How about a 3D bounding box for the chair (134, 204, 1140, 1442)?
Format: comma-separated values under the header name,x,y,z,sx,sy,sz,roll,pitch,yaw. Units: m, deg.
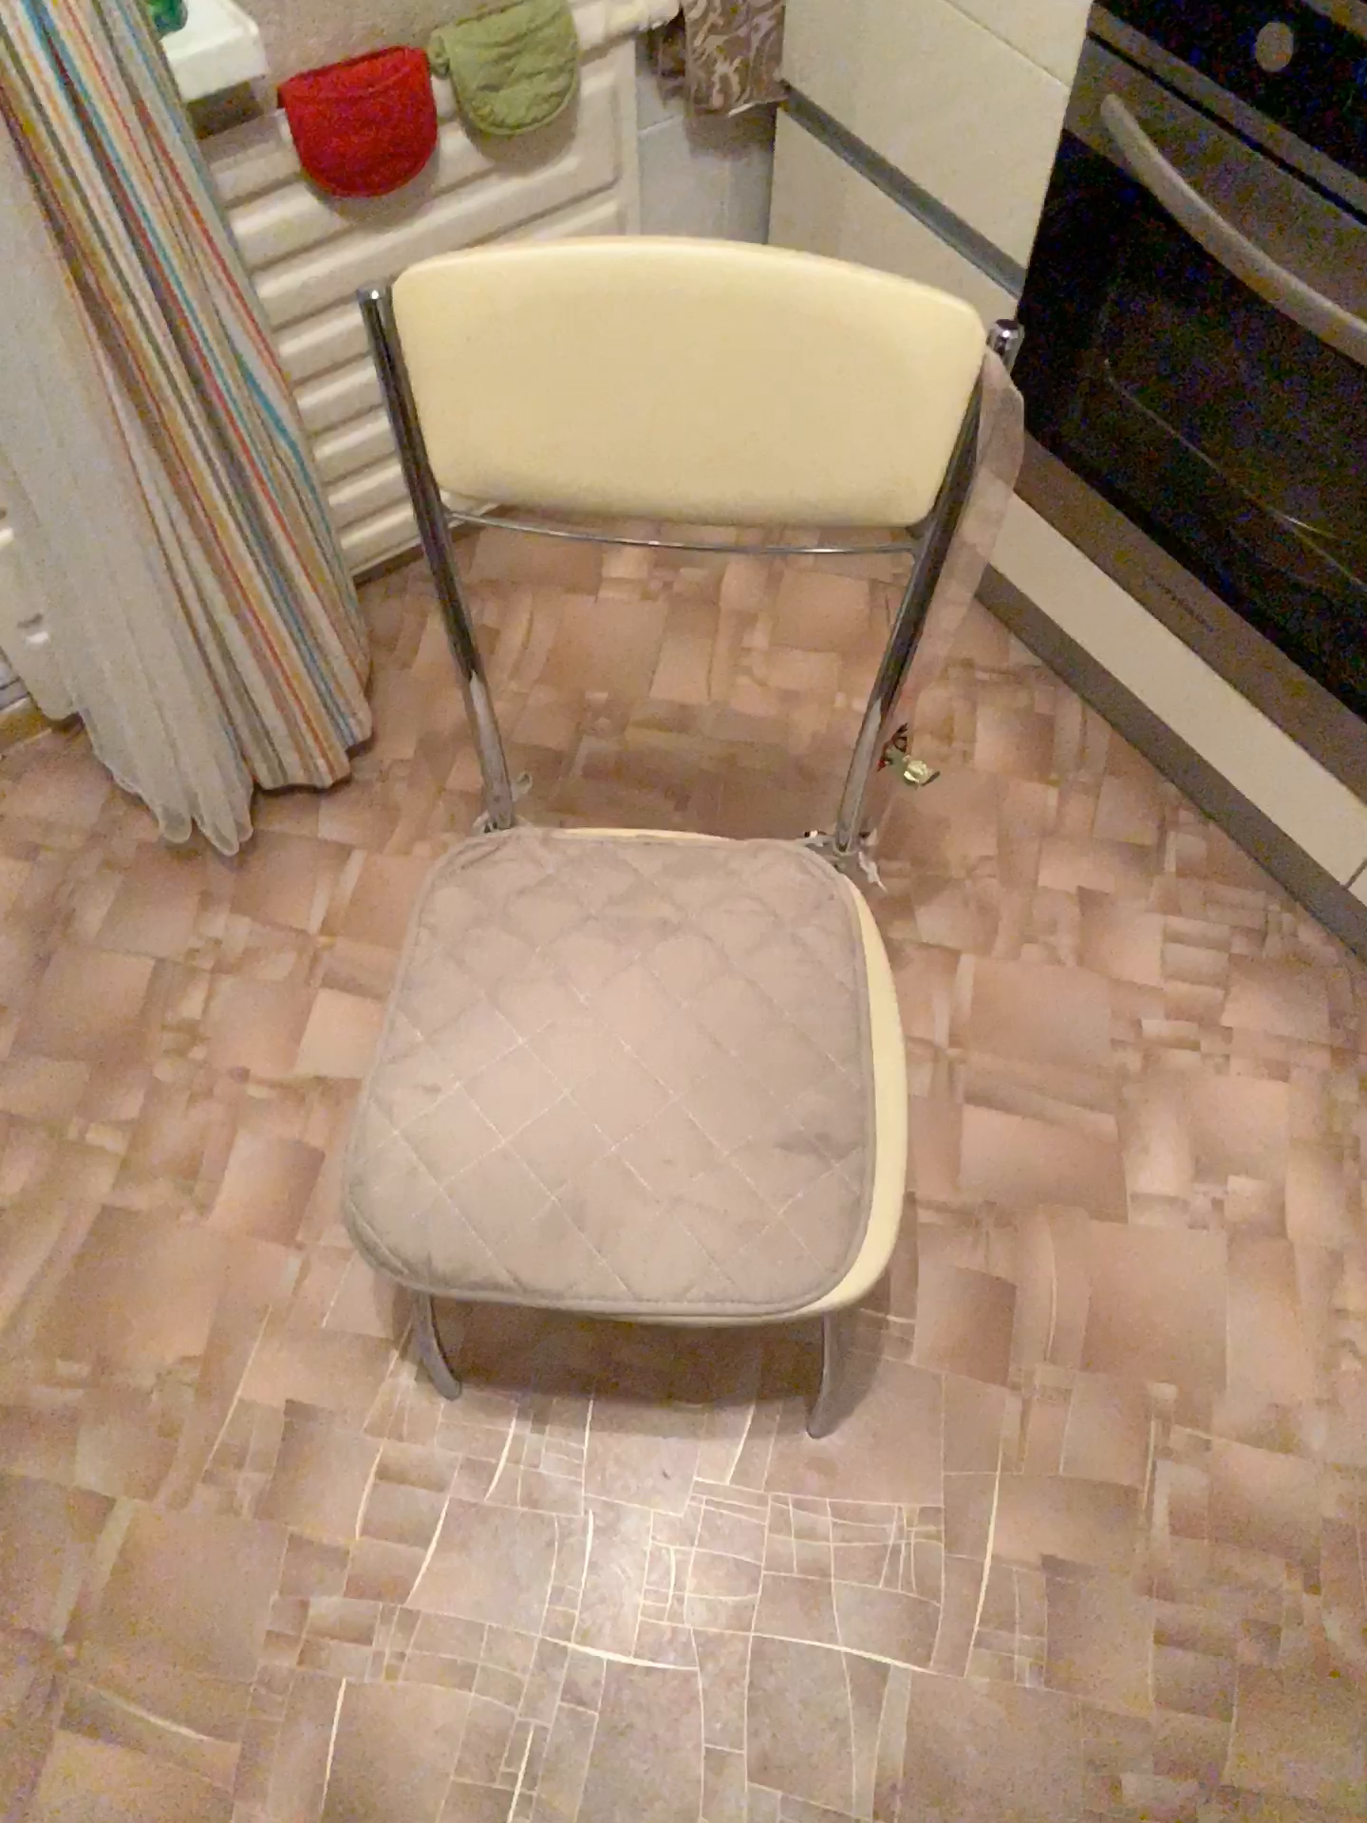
name,x,y,z,sx,sy,sz,roll,pitch,yaw
chair,-0.003,0.042,1.023,0.384,0.855,0.493,4,60,2
